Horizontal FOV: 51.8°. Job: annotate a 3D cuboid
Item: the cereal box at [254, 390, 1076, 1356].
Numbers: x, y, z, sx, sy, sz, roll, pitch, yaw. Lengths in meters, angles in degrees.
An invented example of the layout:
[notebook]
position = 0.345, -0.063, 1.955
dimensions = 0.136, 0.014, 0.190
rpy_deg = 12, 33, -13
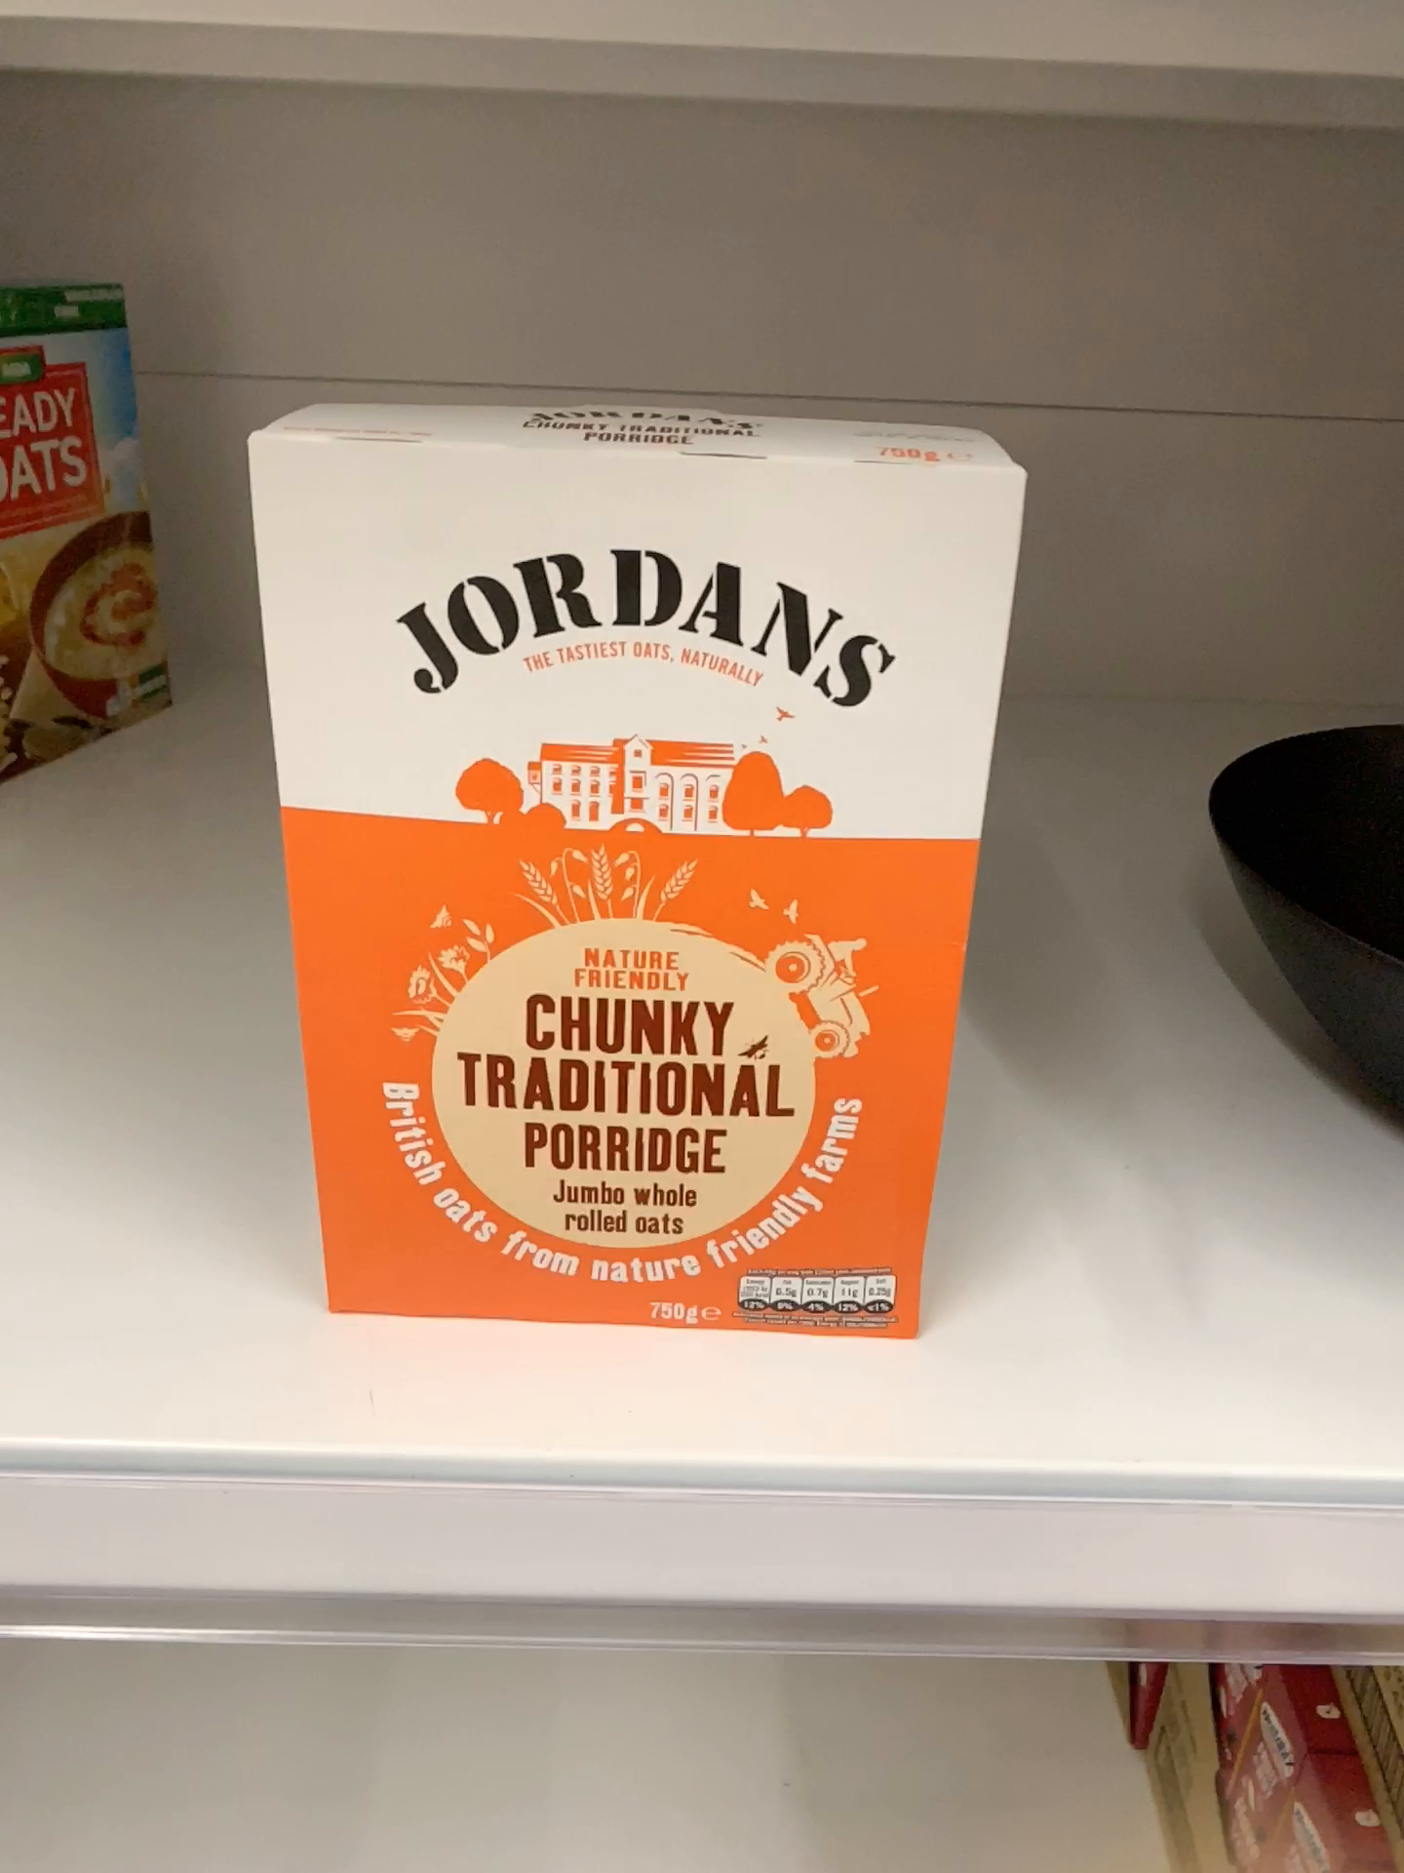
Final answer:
[cereal box]
position = -0.013, -0.009, 0.418
dimensions = 0.190, 0.268, 0.061
rpy_deg = 3, 25, 0
